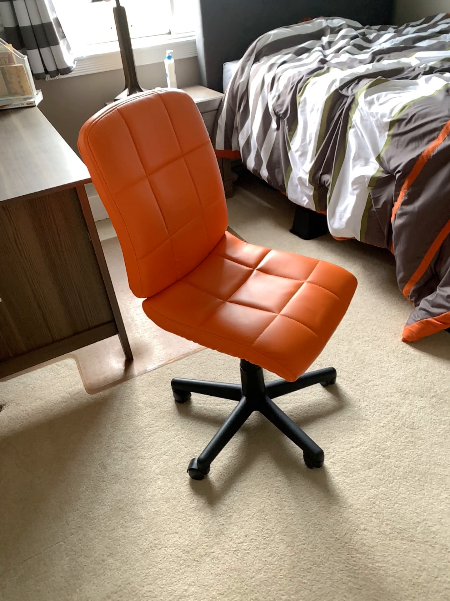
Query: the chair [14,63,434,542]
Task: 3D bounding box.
[{"bbox_3d":[0.050,-0.035,1.168,0.600,0.904,0.596,19,42,30],"label":"chair"}]
